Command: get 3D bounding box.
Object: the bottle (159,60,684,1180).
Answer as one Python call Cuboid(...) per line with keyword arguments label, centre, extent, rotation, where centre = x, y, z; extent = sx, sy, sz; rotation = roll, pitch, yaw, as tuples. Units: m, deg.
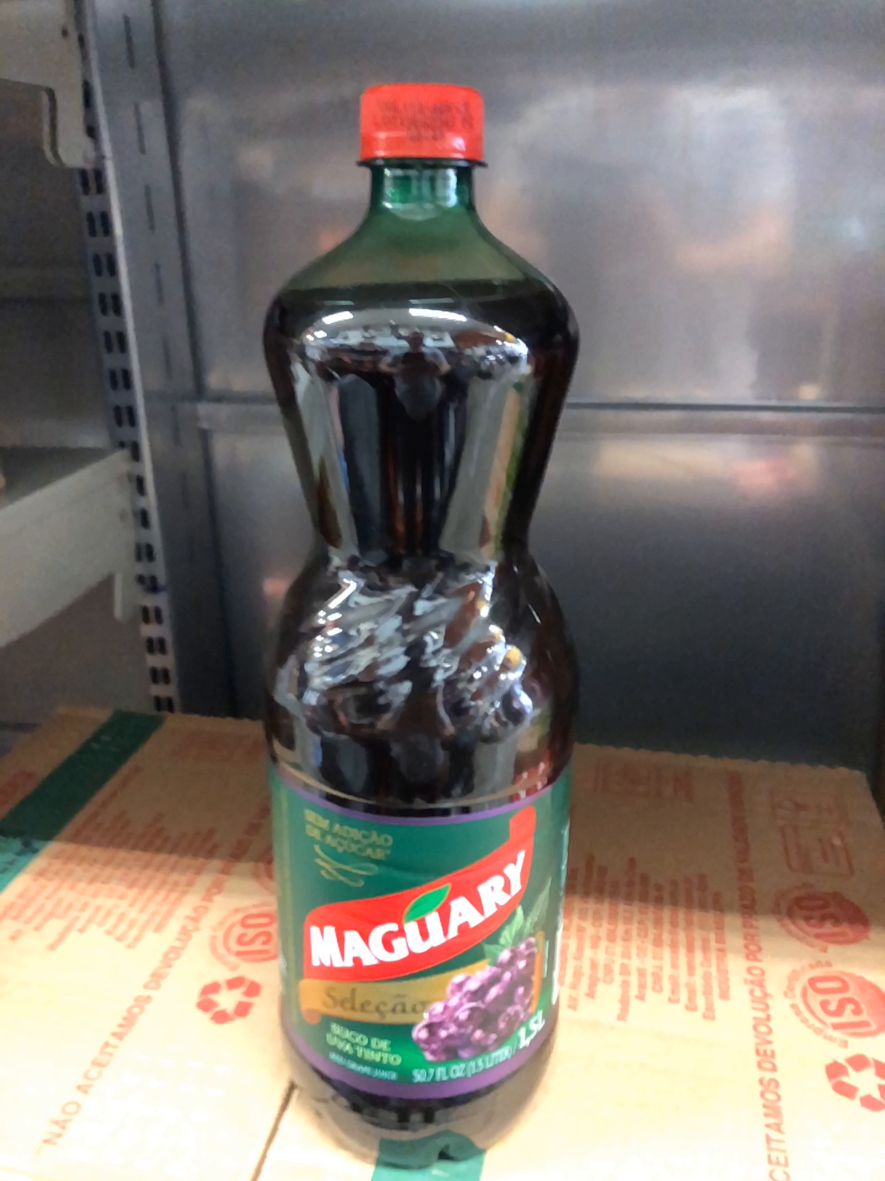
Cuboid(label="bottle", centre=(-0.006, 0.020, 0.276), extent=(0.100, 0.288, 0.080), rotation=(-2, 21, -4))
